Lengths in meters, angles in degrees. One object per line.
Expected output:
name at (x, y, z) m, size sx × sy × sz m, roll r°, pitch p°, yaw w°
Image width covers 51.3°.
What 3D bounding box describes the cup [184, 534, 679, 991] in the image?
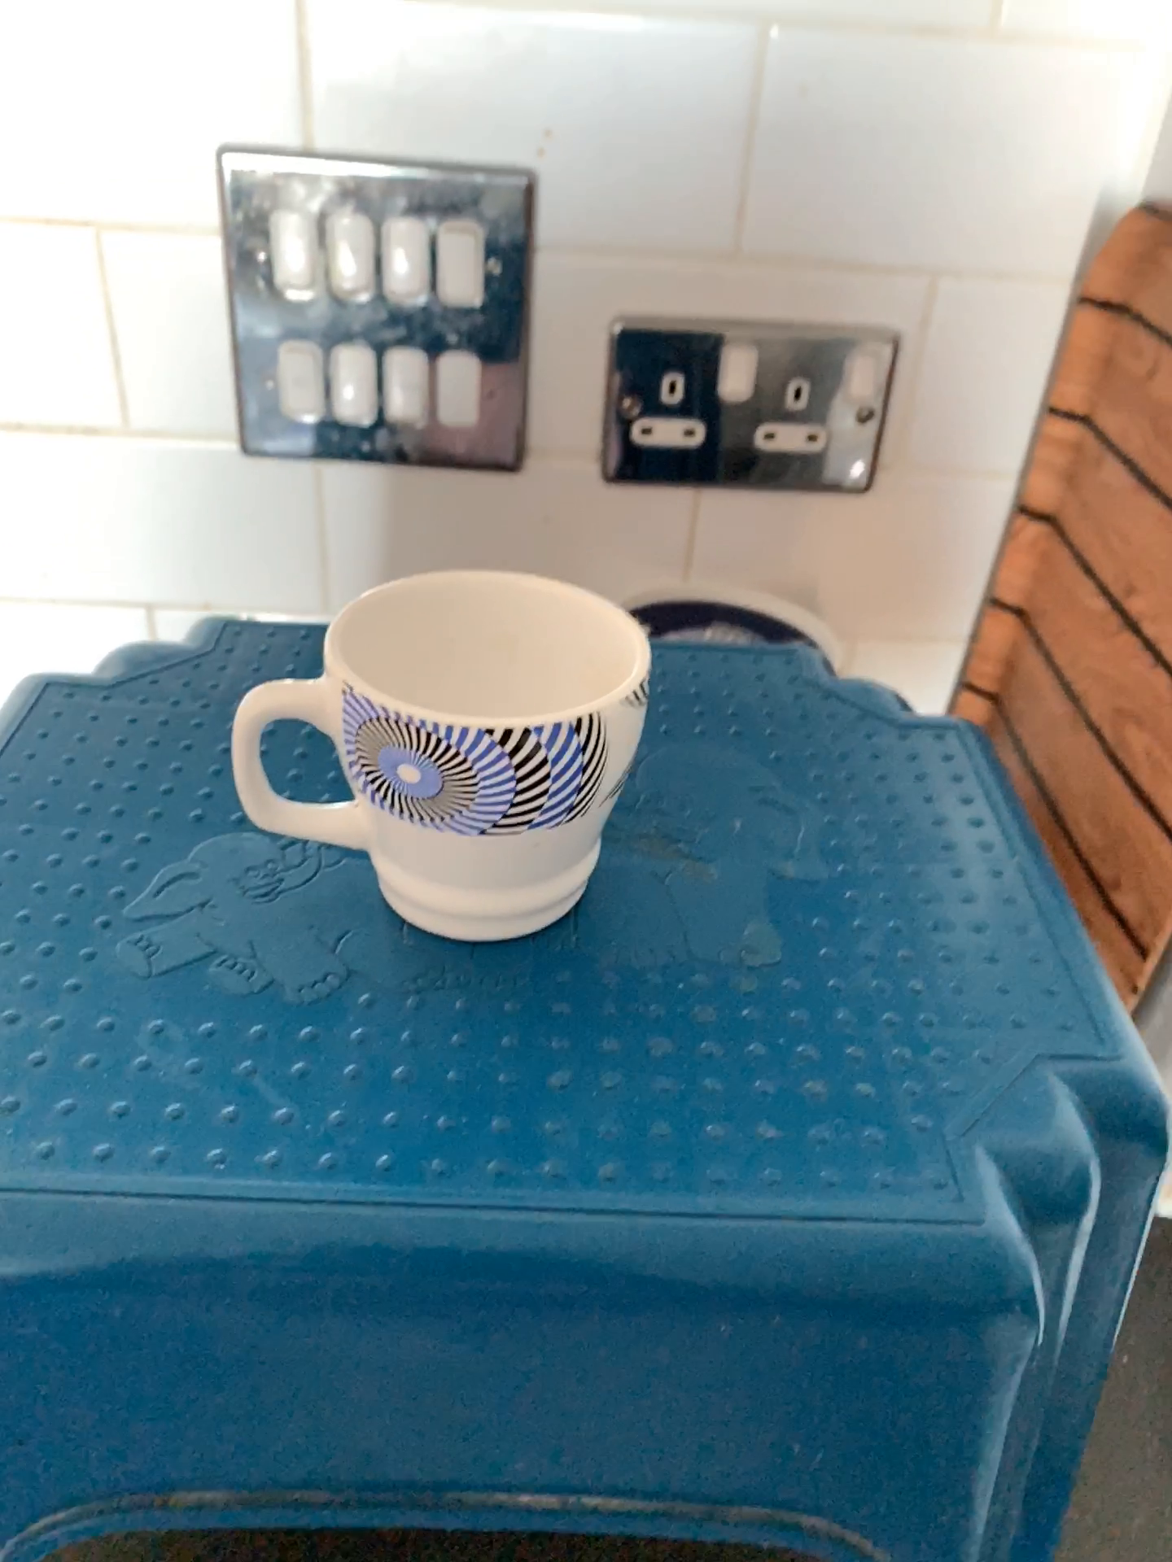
cup at (-0.026, -0.007, 0.257) m, size 0.085 × 0.055 × 0.079 m, roll 3°, pitch 35°, yaw -2°
